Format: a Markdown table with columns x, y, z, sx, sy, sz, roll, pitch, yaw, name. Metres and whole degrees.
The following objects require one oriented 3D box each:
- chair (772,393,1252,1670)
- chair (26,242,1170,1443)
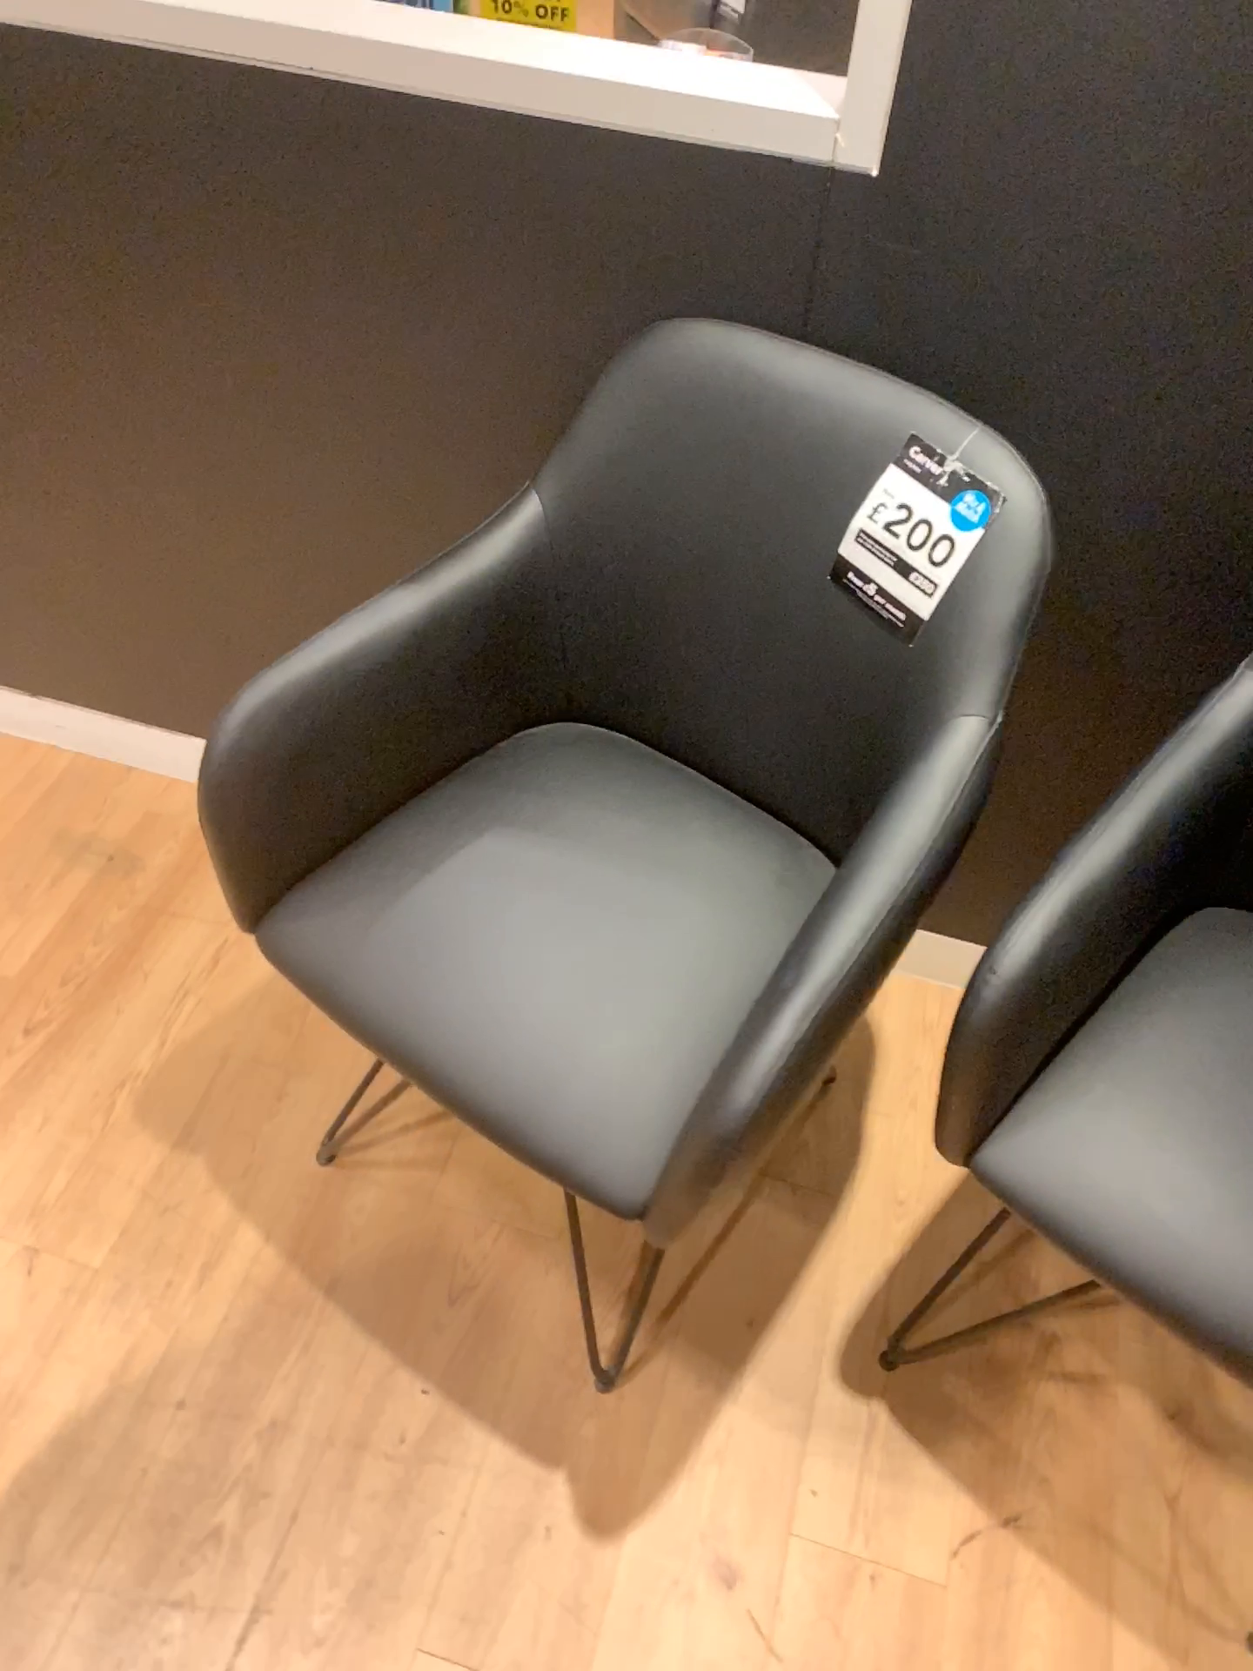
| x | y | z | sx | sy | sz | roll | pitch | yaw | name |
| --- | --- | --- | --- | --- | --- | --- | --- | --- | --- |
| 0.574 | 0.213 | 1.098 | 0.564 | 0.837 | 0.595 | 28 | 51 | 21 | chair |
| -0.020 | 0.006 | 1.218 | 0.605 | 0.777 | 0.594 | 31 | 52 | 23 | chair |
